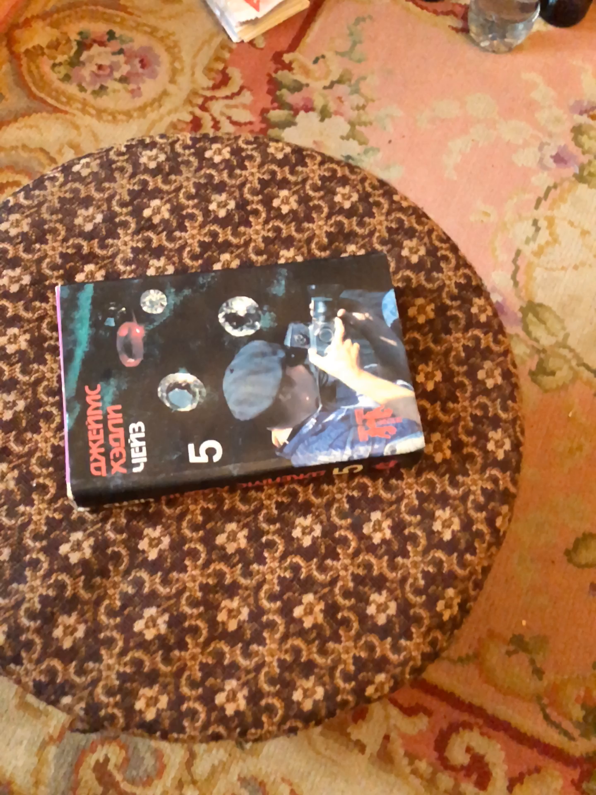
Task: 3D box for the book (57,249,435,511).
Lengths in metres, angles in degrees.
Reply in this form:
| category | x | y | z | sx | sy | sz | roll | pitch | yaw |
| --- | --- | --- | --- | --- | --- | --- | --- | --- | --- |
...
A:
| category | x | y | z | sx | sy | sz | roll | pitch | yaw |
| --- | --- | --- | --- | --- | --- | --- | --- | --- | --- |
| book | -0.033 | -0.016 | 0.391 | 0.205 | 0.020 | 0.140 | -5 | 73 | -9 |
